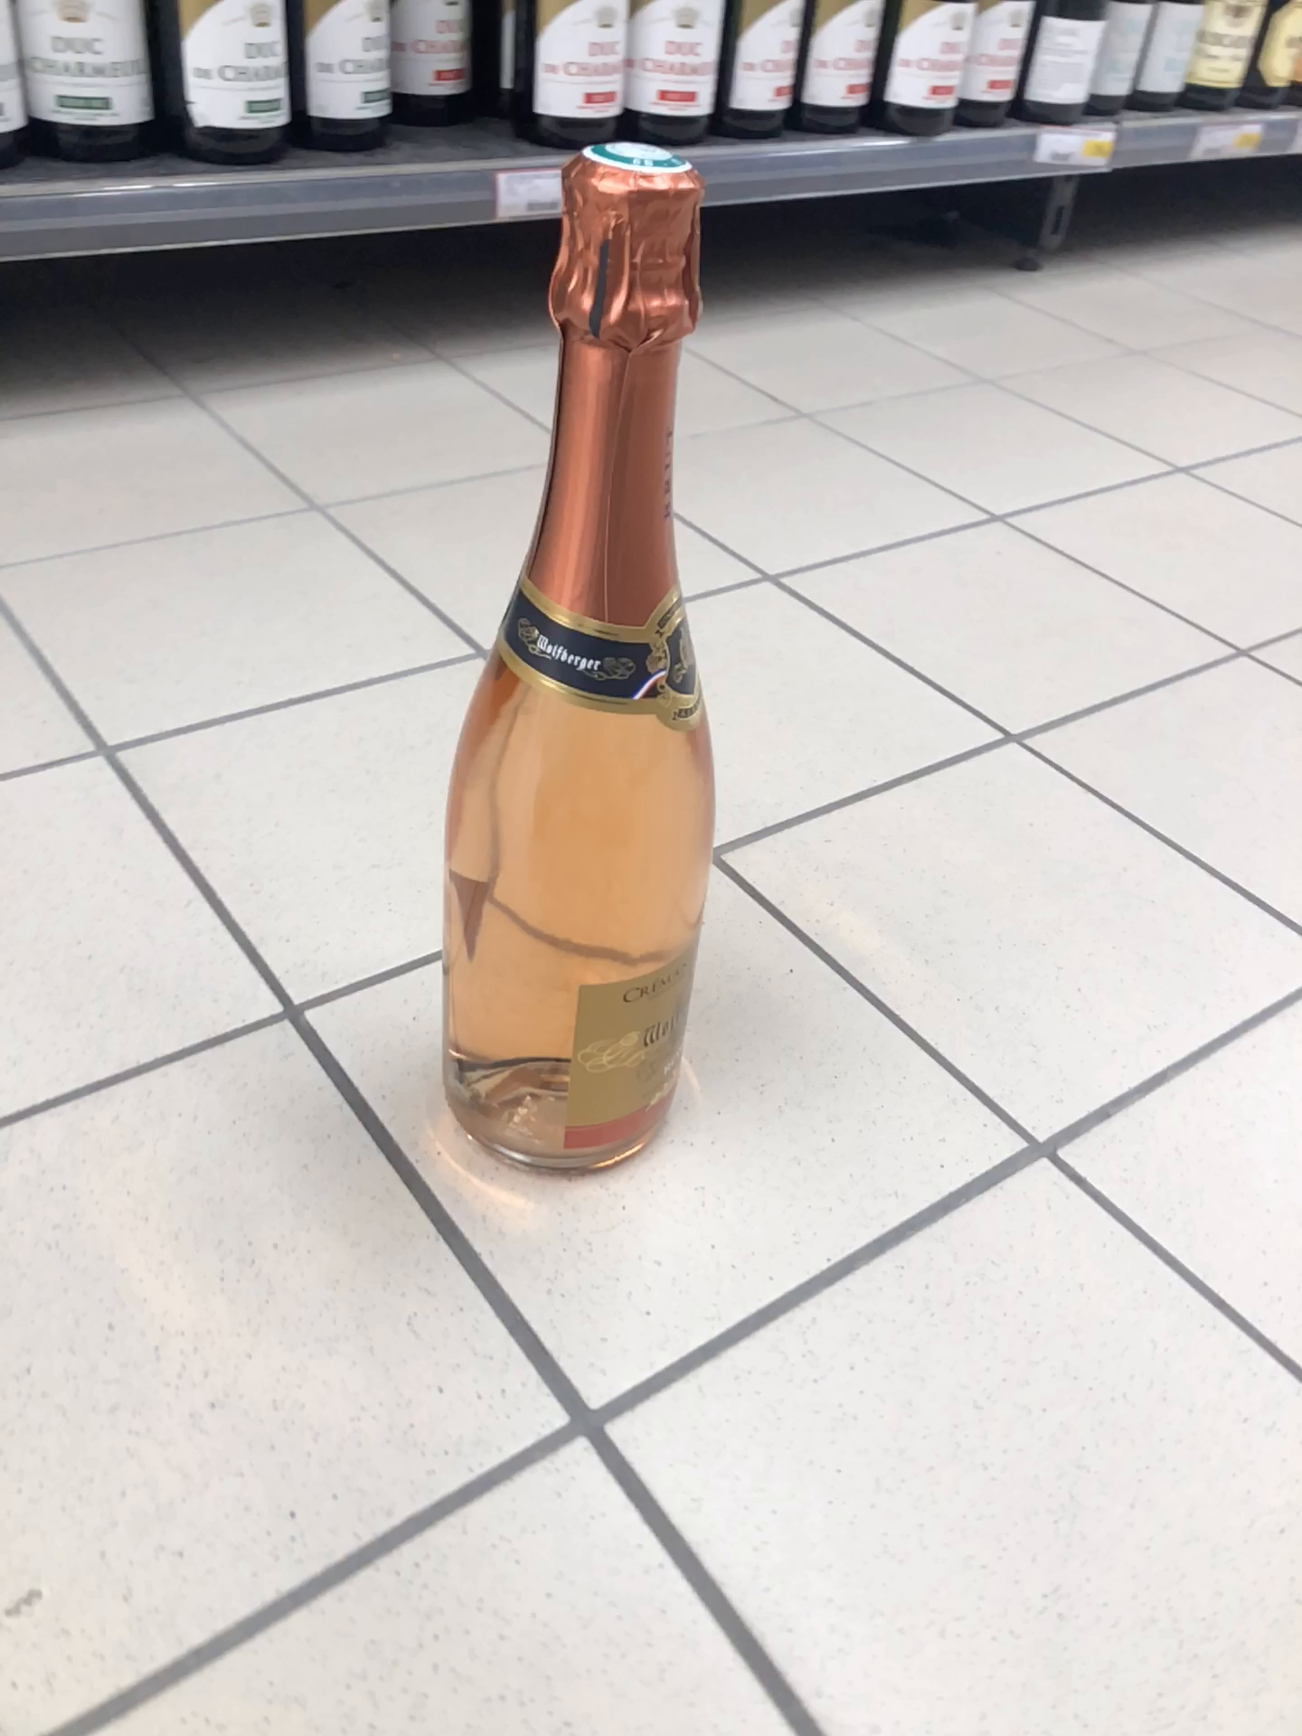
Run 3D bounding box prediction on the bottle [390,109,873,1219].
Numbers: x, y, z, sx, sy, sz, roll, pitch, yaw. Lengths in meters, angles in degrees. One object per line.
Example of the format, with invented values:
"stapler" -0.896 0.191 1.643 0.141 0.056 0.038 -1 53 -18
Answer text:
"bottle" -0.015 -0.043 0.429 0.090 0.308 0.091 4 37 -3
